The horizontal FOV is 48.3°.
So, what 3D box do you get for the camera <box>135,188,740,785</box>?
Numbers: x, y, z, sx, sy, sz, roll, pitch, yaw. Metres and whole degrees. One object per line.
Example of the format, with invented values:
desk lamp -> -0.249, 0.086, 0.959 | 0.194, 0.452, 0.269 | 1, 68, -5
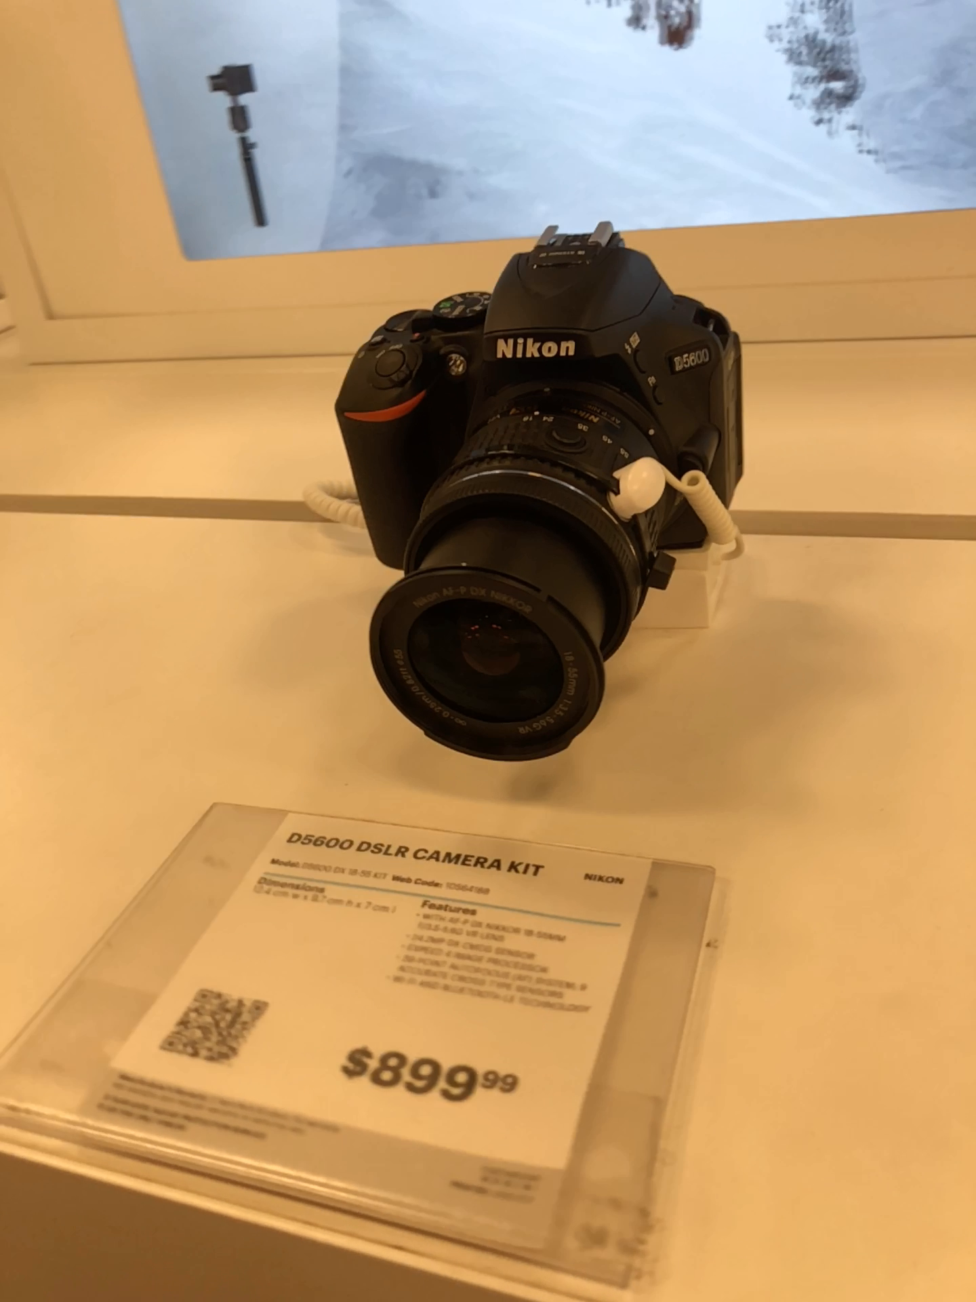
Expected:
camera -> 0.007, -0.063, 0.334 | 0.120, 0.090, 0.191 | 2, 38, 18
